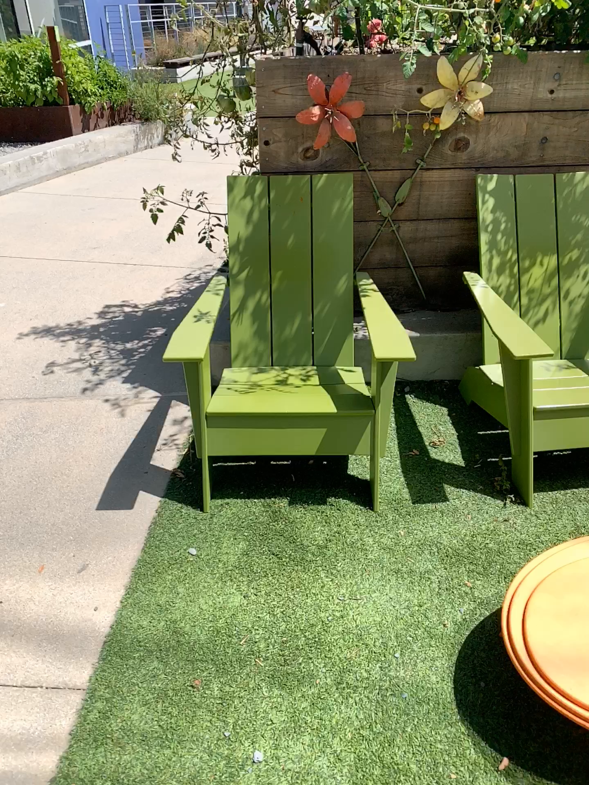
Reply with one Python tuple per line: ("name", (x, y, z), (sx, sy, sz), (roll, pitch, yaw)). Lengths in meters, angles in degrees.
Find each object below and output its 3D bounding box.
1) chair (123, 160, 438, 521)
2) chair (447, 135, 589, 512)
("chair", (-0.022, -0.225, 1.884), (0.680, 0.835, 0.905), (-1, 27, 1))
("chair", (0.957, -0.273, 2.042), (0.680, 0.986, 0.893), (-3, 18, 3))
